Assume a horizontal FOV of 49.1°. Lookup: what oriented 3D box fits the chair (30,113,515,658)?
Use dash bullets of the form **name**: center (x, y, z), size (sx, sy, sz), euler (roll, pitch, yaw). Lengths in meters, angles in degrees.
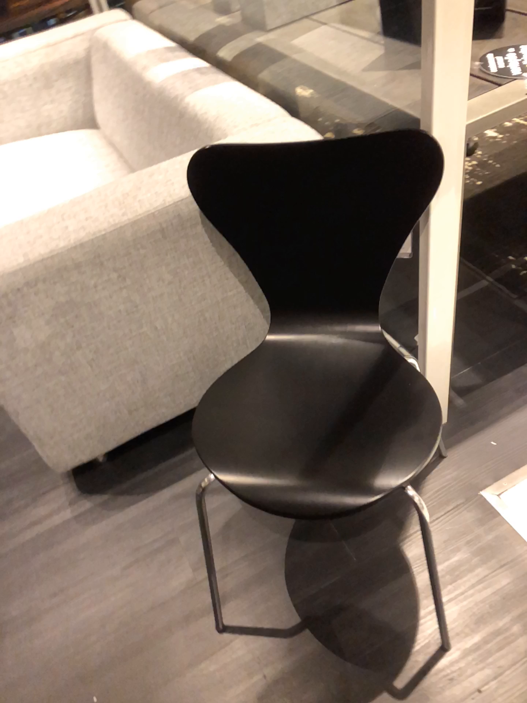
- **chair**: center (0.092, 0.111, 1.021), size (0.490, 0.804, 0.504), euler (-1, 45, 13)
